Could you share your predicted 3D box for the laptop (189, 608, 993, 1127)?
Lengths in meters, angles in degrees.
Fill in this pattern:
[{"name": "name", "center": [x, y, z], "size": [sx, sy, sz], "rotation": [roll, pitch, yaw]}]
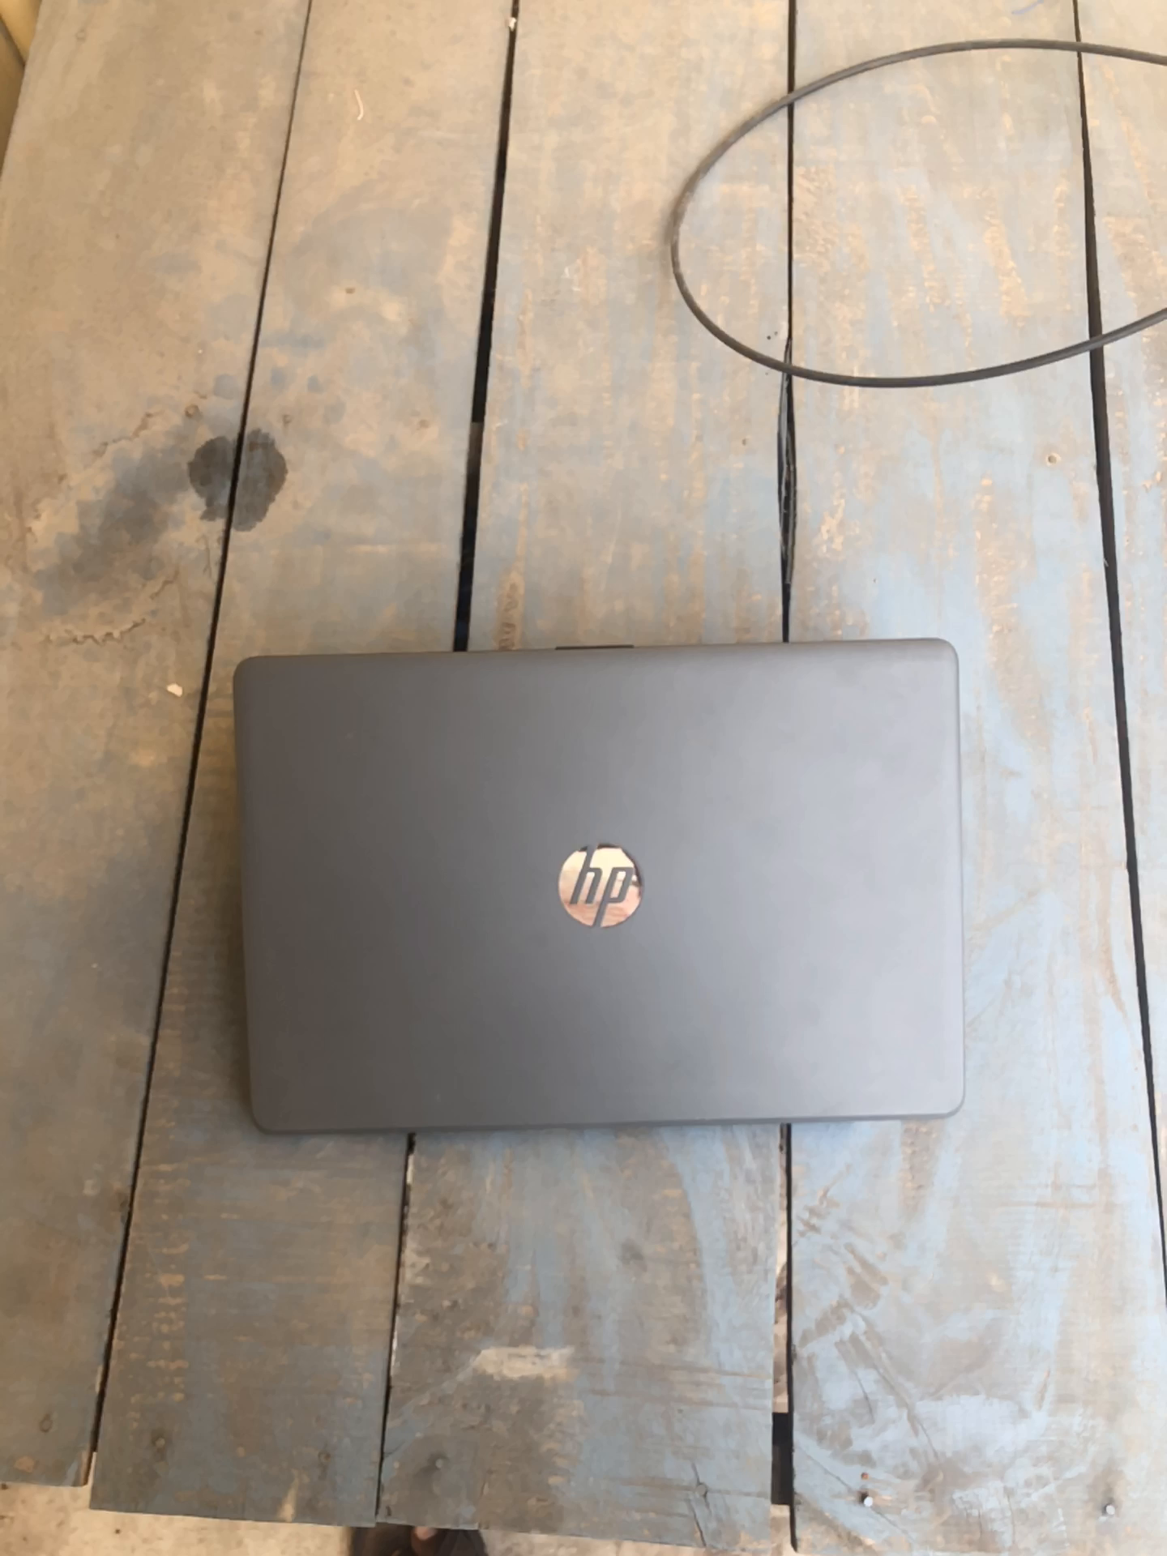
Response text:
[{"name": "laptop", "center": [0.001, 0.048, 0.662], "size": [0.361, 0.096, 0.243], "rotation": [-1, 73, 0]}]
